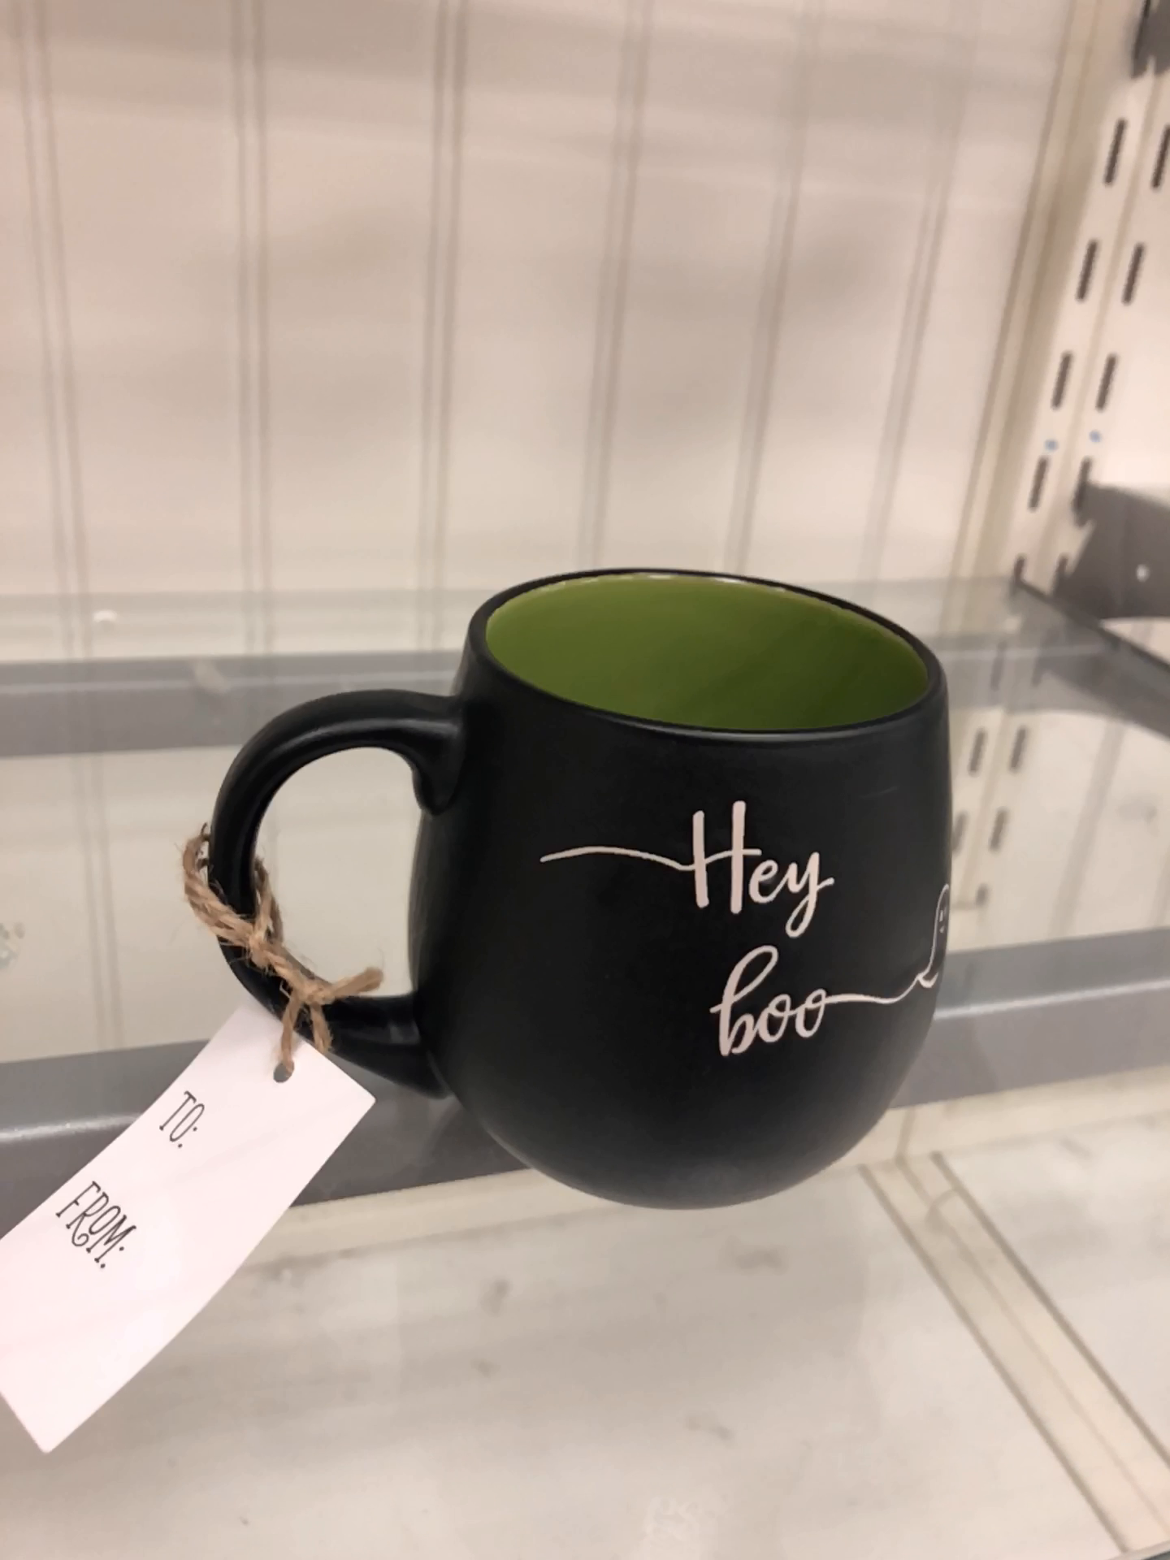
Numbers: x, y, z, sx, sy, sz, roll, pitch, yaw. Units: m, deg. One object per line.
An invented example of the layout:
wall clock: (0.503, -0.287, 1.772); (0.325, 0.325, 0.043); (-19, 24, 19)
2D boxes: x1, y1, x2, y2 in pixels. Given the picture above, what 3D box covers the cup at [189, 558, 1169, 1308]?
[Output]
cup: (0.008, 0.016, 0.241); (0.149, 0.089, 0.091); (-3, 26, -17)
